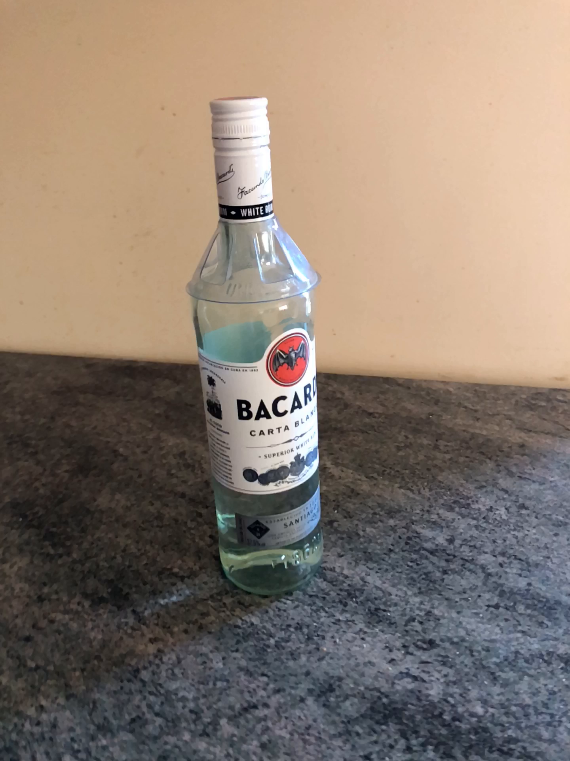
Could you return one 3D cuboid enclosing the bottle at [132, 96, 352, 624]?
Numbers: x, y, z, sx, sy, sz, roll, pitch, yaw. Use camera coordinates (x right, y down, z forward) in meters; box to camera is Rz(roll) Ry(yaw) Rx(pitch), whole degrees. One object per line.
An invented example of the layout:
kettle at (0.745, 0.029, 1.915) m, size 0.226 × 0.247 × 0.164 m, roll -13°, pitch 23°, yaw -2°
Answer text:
bottle at (-0.018, -0.008, 0.383) m, size 0.080 × 0.298 × 0.080 m, roll -2°, pitch 24°, yaw 1°
